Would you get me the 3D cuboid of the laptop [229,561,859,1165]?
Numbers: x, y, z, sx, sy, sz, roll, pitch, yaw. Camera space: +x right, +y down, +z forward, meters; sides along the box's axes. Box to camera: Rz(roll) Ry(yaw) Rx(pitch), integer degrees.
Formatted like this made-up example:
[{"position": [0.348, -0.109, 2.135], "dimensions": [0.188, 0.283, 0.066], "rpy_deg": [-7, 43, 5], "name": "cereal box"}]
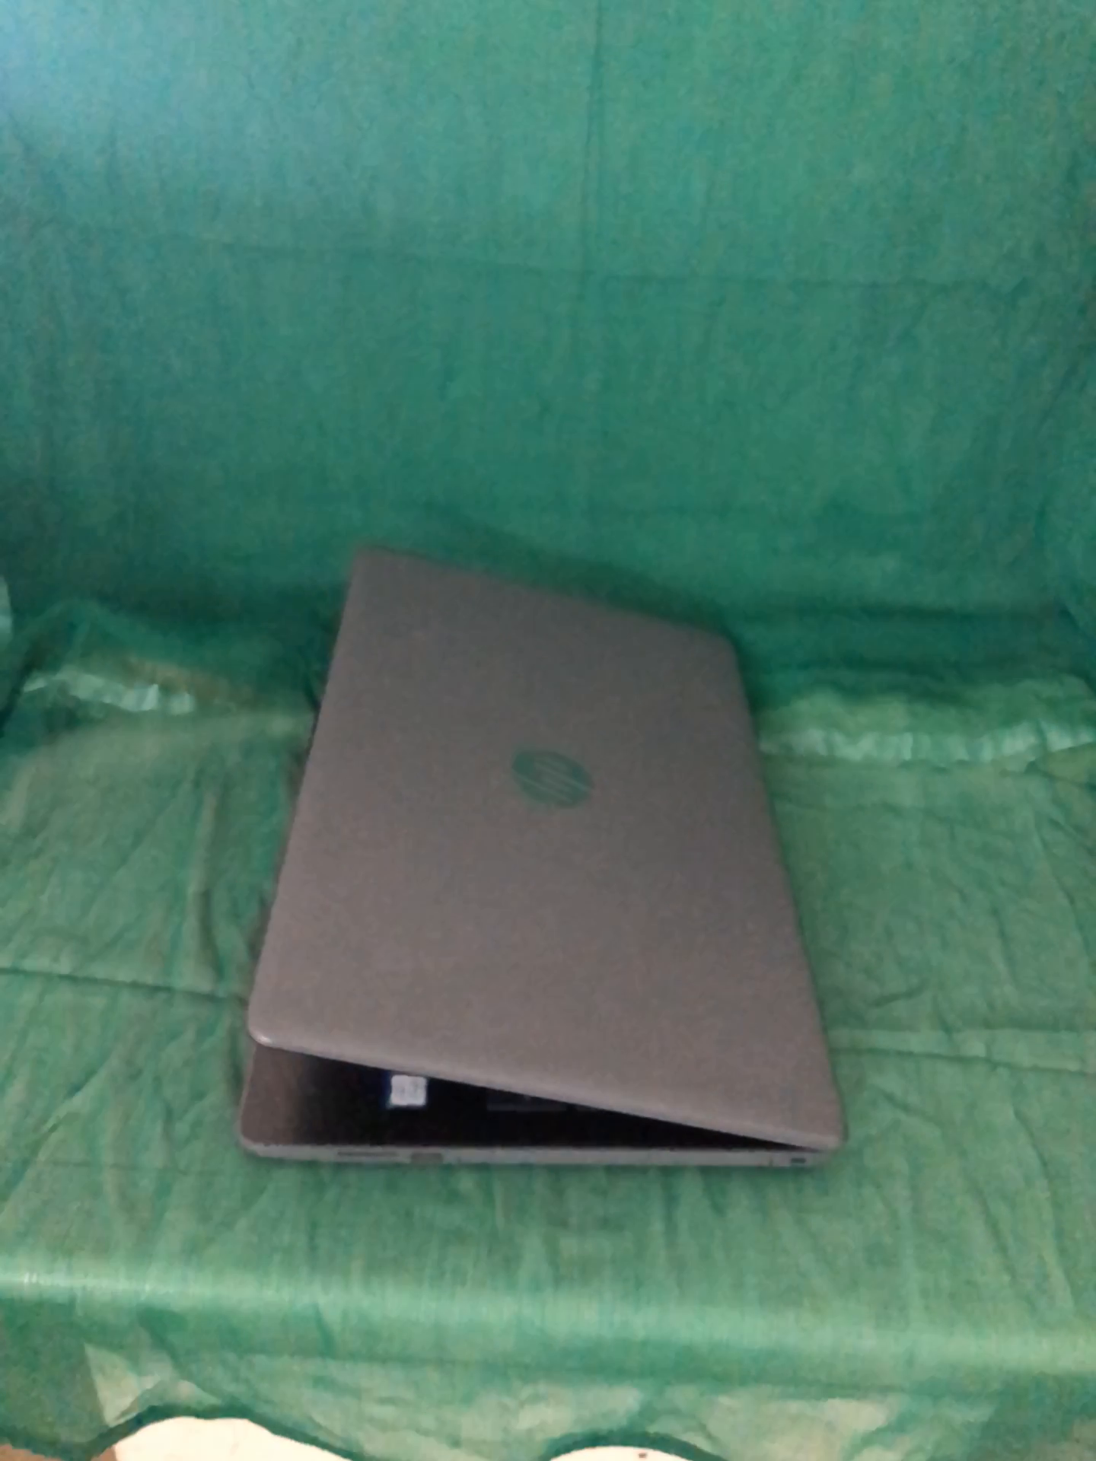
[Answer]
[{"position": [-0.001, 0.035, 0.608], "dimensions": [0.231, 0.066, 0.361], "rpy_deg": [2, 36, -1], "name": "laptop"}]
